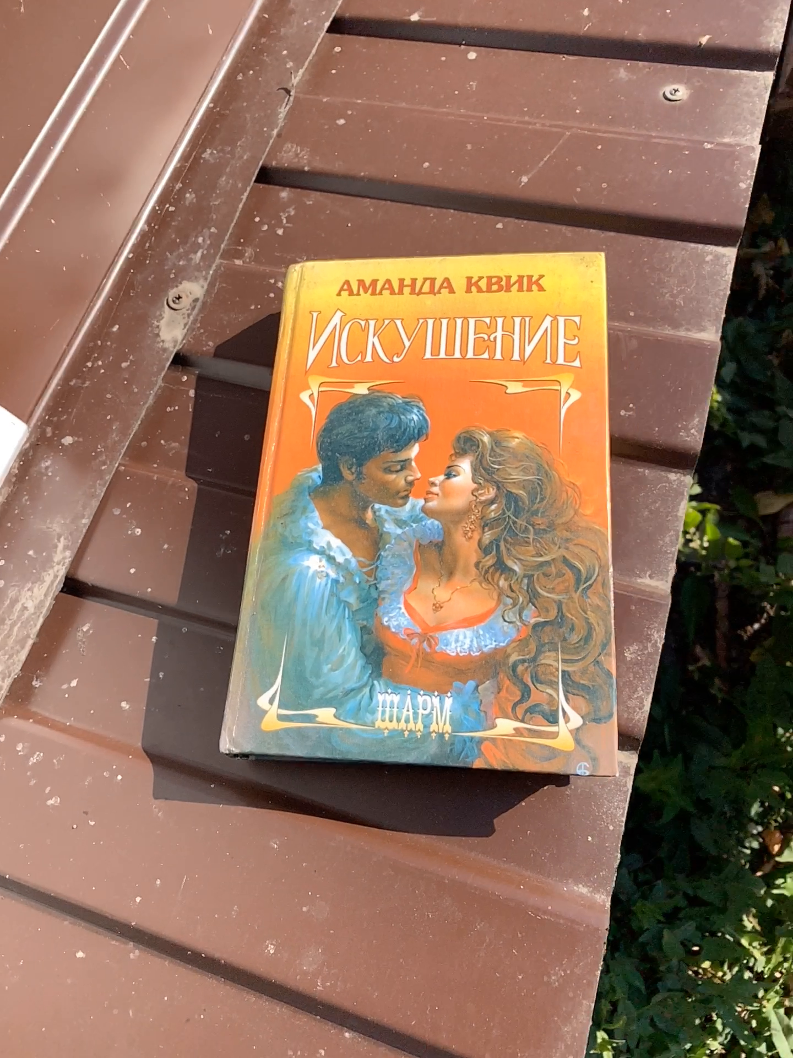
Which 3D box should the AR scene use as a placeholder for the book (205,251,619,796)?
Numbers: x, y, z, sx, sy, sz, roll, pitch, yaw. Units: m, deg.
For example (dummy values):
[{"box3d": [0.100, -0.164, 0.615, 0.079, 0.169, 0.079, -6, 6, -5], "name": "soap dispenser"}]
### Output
[{"box3d": [0.012, -0.011, 0.306, 0.134, 0.024, 0.200, 2, 71, 10], "name": "book"}]
